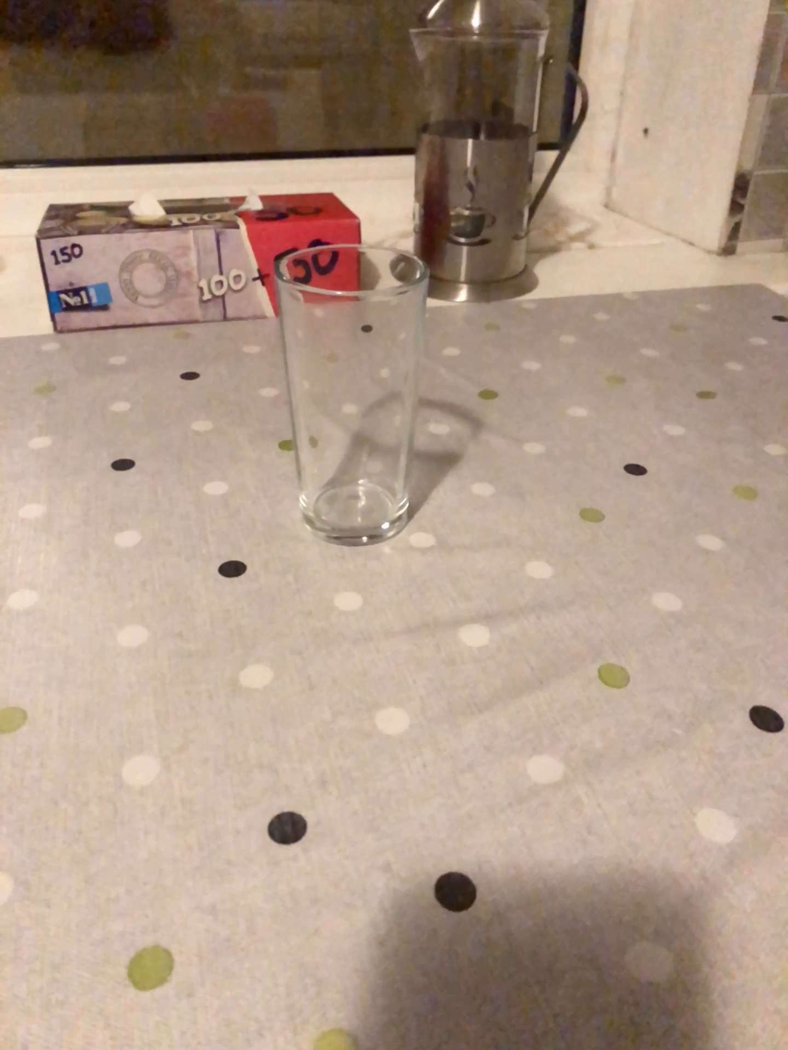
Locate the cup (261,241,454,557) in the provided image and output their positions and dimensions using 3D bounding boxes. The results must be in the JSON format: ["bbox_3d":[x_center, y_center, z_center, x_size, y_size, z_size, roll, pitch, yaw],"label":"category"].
[{"bbox_3d":[-0.018,-0.058,0.393,0.068,0.117,0.070,0,33,0],"label":"cup"}]
